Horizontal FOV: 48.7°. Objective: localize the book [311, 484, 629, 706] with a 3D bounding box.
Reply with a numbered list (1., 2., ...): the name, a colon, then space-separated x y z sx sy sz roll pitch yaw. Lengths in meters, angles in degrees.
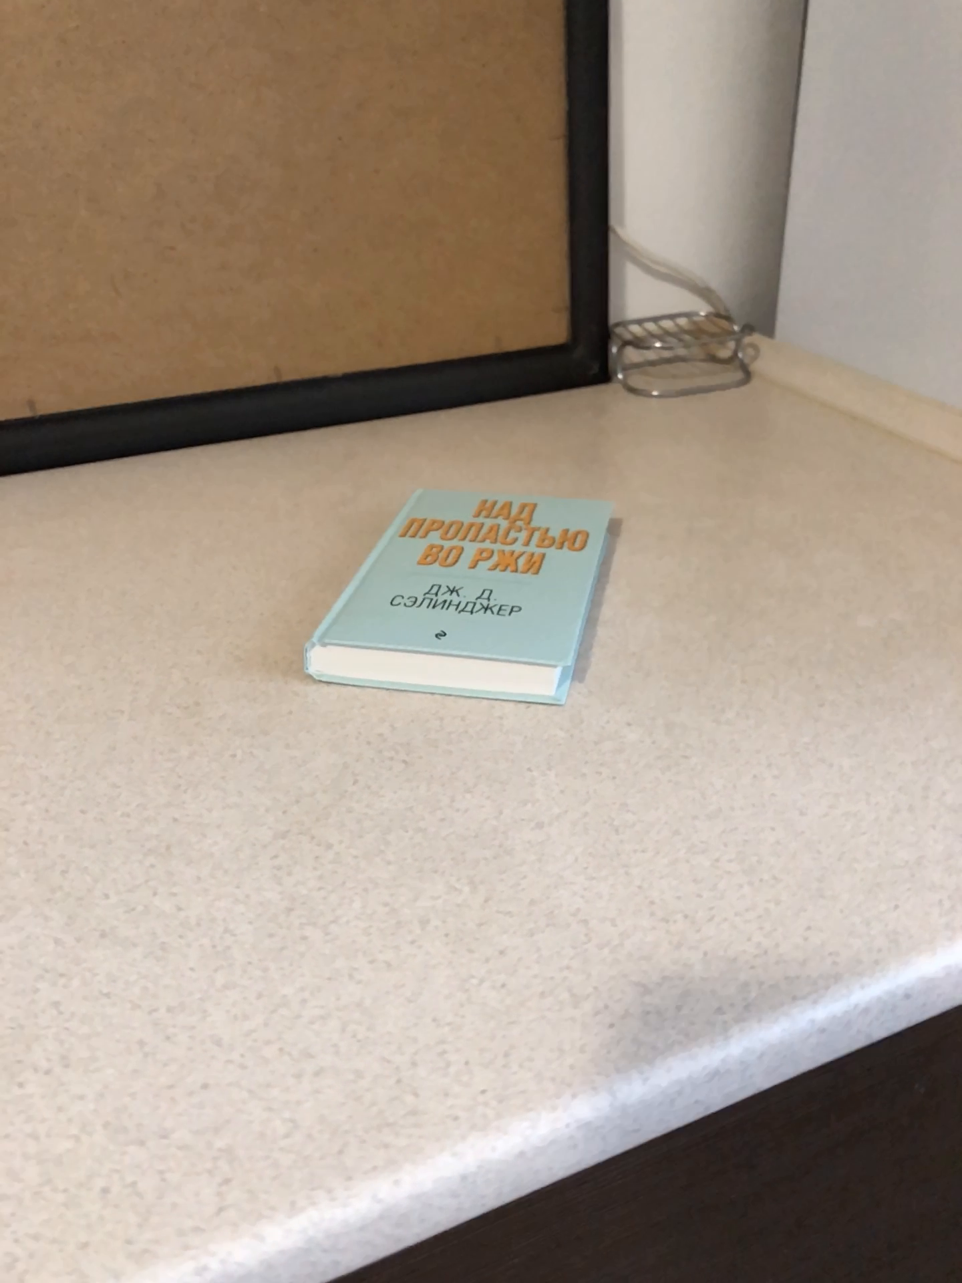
1. book: 0.005 -0.031 0.507 0.115 0.020 0.176 5 30 11
